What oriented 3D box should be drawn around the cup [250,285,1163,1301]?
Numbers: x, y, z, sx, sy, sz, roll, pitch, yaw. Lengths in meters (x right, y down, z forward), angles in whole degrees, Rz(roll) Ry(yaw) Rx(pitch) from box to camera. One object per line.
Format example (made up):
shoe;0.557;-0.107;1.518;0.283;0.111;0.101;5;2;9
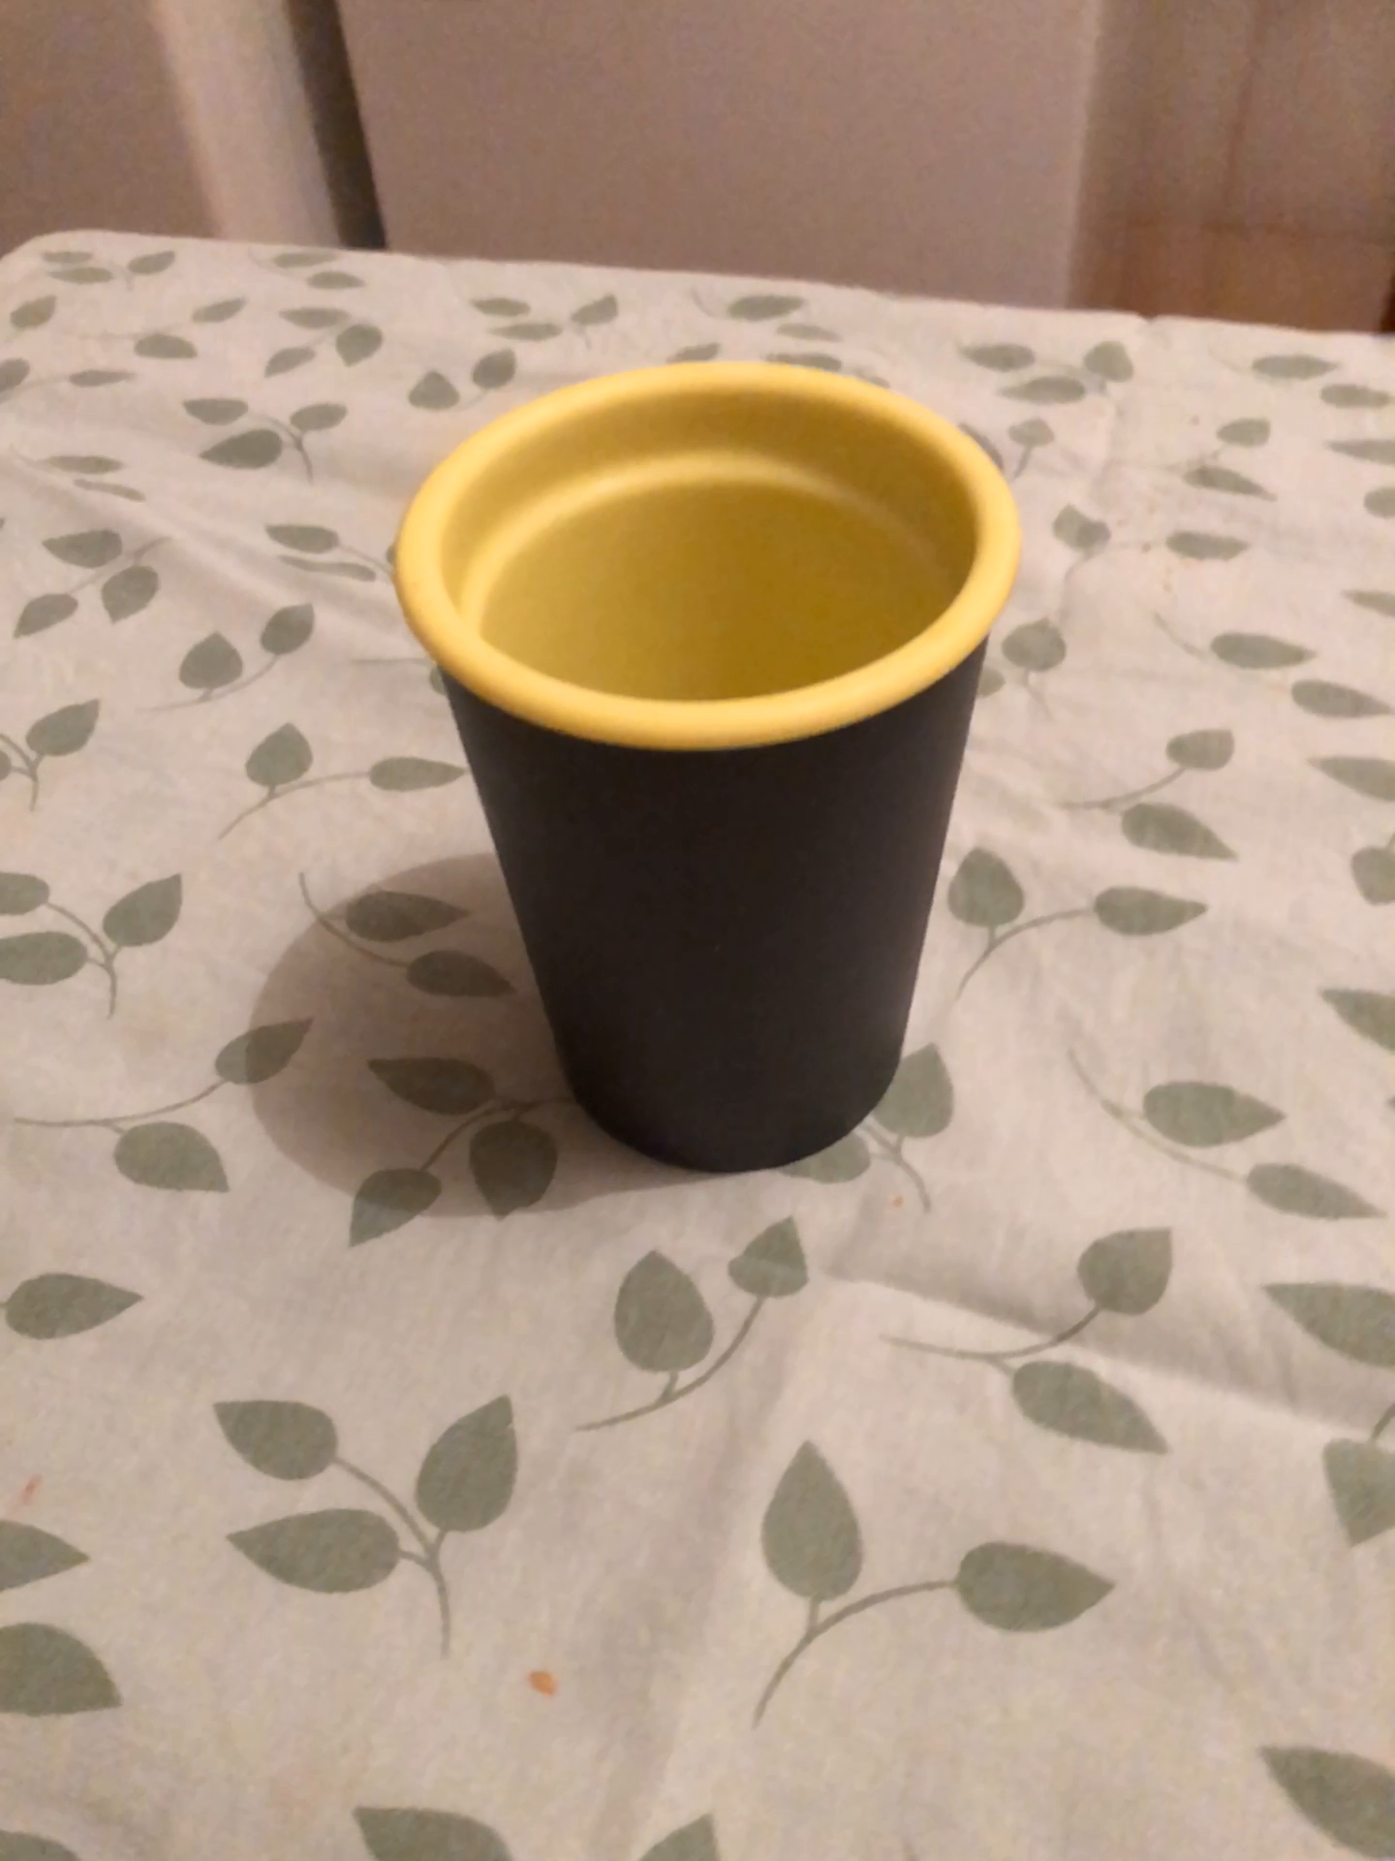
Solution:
cup;0.005;-0.023;0.253;0.090;0.109;0.090;-2;48;2
